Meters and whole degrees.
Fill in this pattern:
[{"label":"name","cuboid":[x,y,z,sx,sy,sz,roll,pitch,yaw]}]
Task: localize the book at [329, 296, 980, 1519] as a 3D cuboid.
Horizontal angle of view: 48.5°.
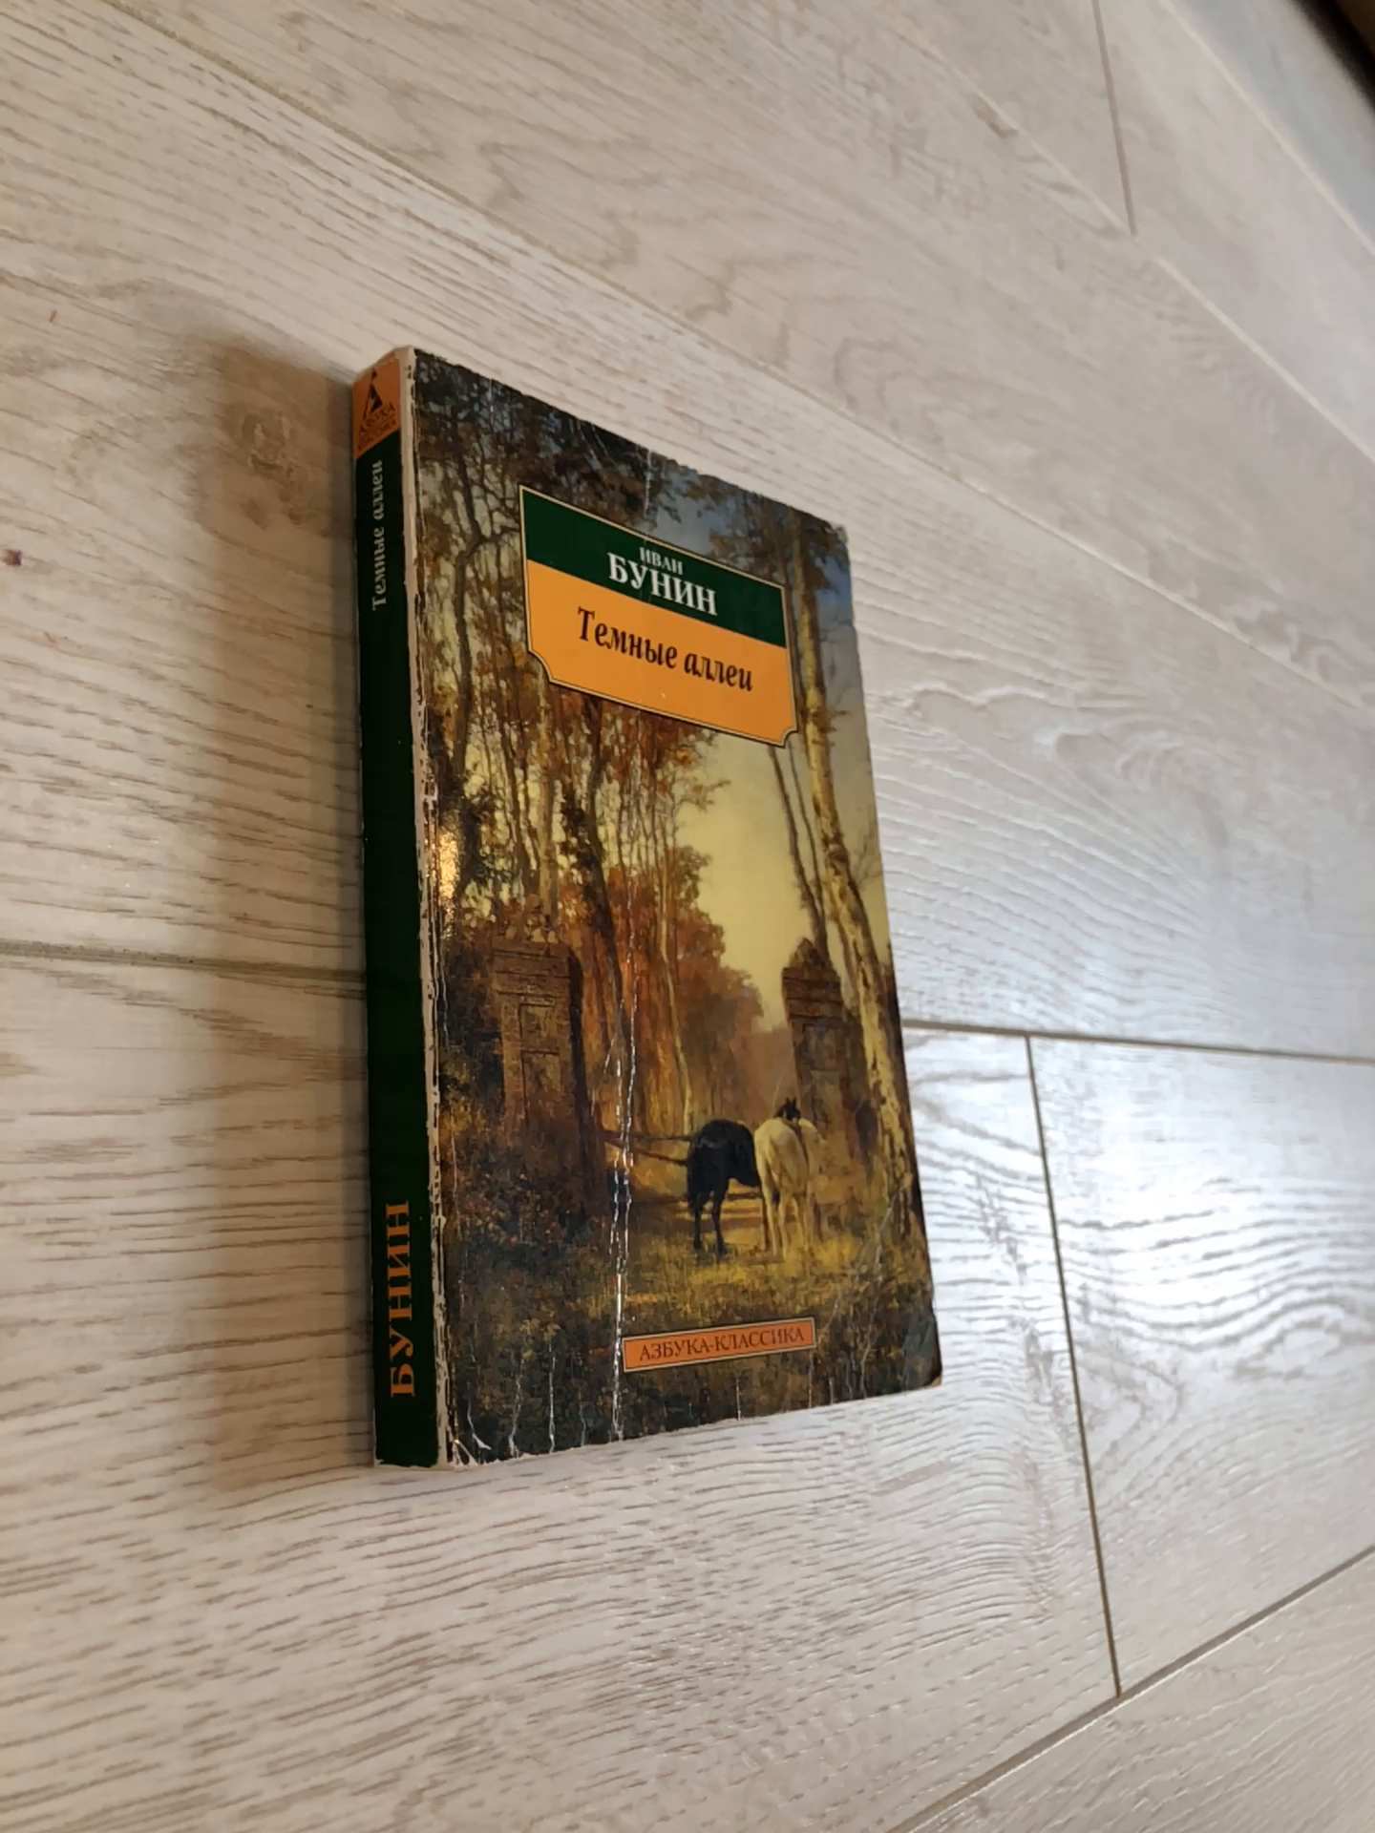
[{"label":"book","cuboid":[-0.003,-0.001,0.261,0.113,0.024,0.177,9,71,-44]}]
